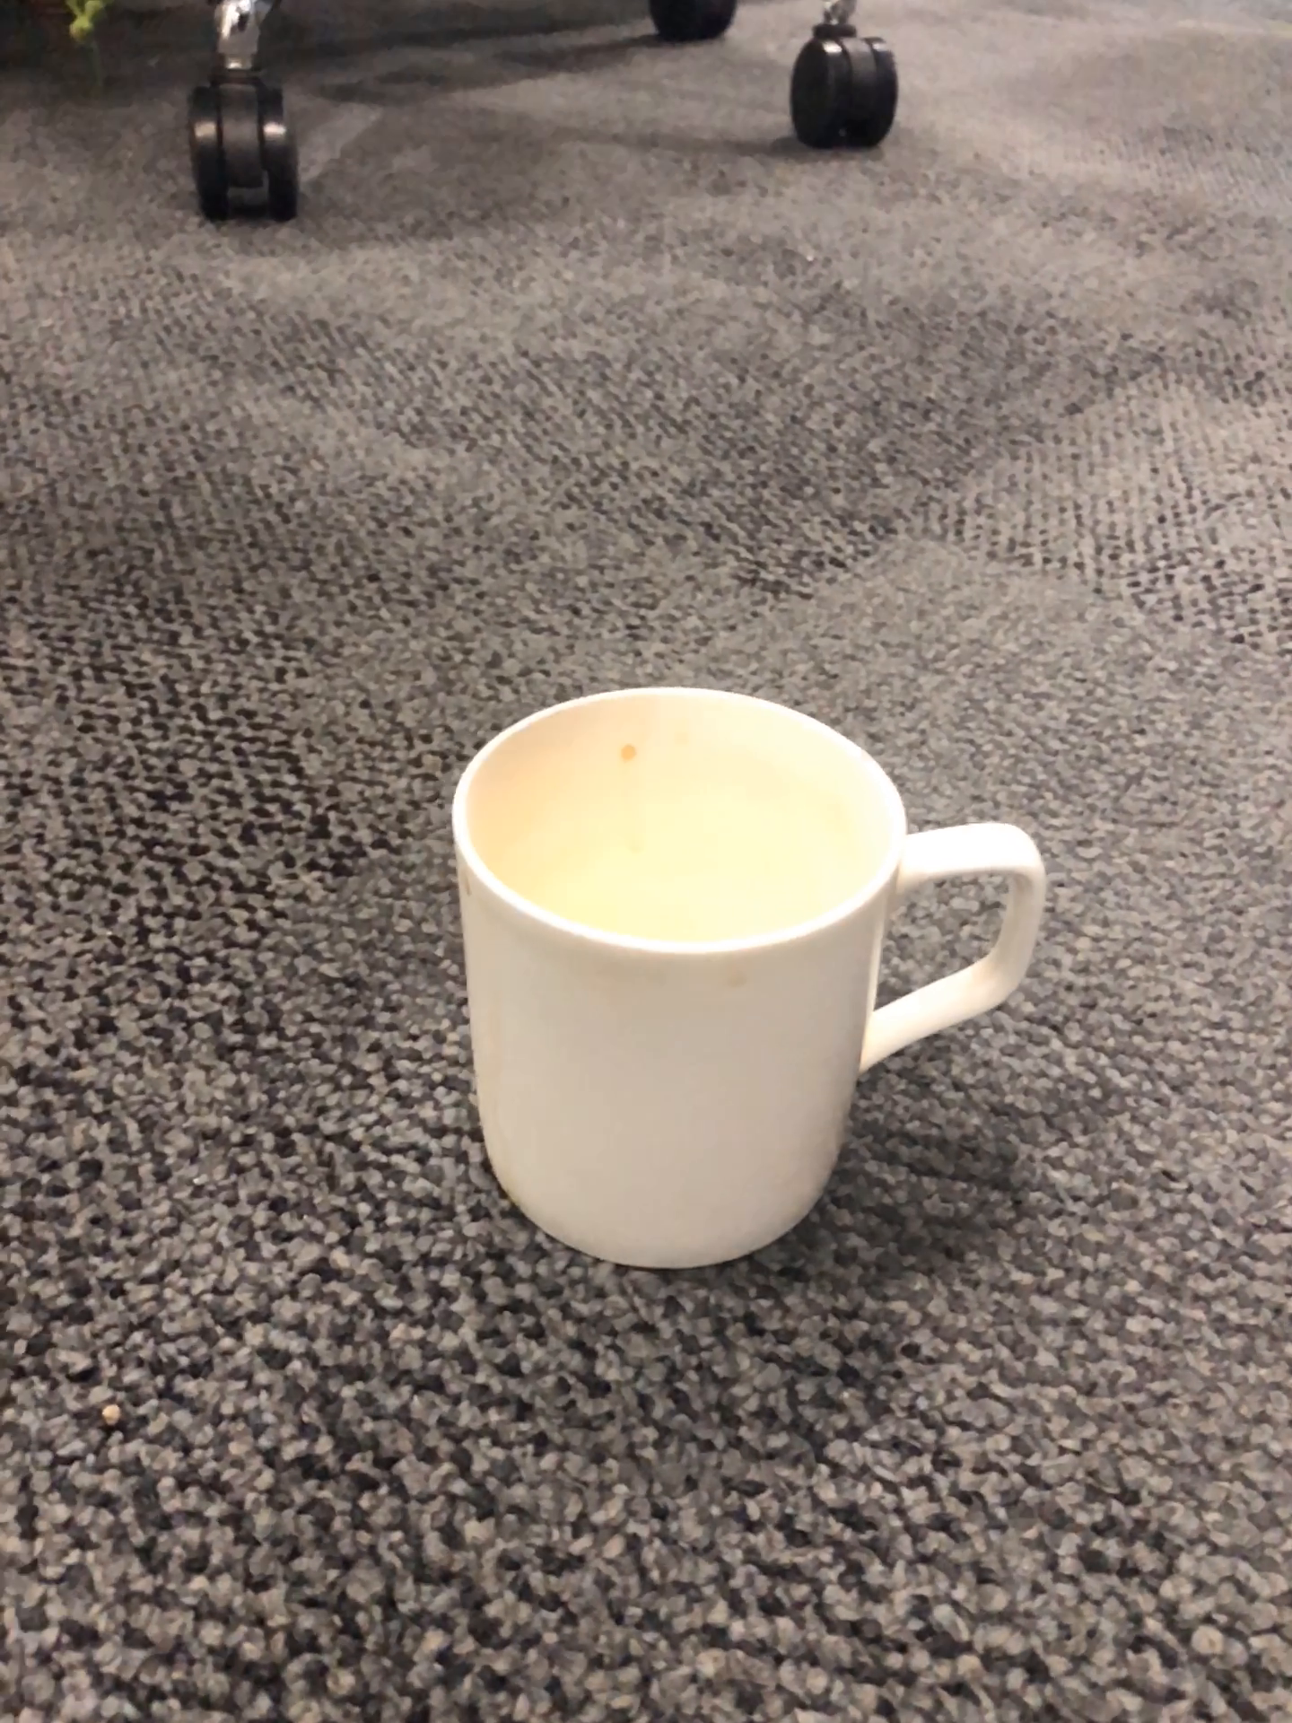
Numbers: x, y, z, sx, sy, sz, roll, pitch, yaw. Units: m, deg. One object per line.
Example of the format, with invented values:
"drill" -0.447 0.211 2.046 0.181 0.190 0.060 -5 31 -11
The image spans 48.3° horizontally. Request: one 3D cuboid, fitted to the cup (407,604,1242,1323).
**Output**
"cup" 0.019 0.012 0.224 0.100 0.070 0.070 -7 38 -11
